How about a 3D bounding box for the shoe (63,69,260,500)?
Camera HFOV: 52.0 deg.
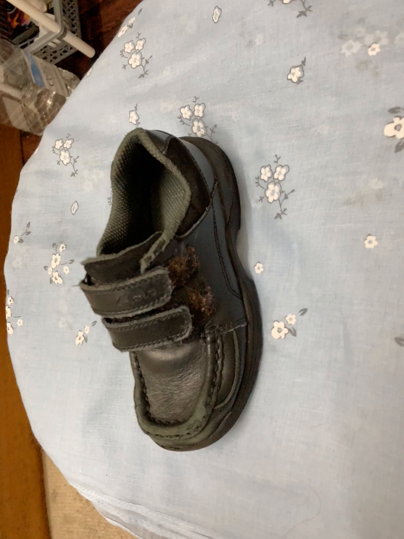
[{"bbox_3d":[-0.022,0.007,0.234,0.079,0.073,0.190,-5,84,30],"label":"shoe"}]
